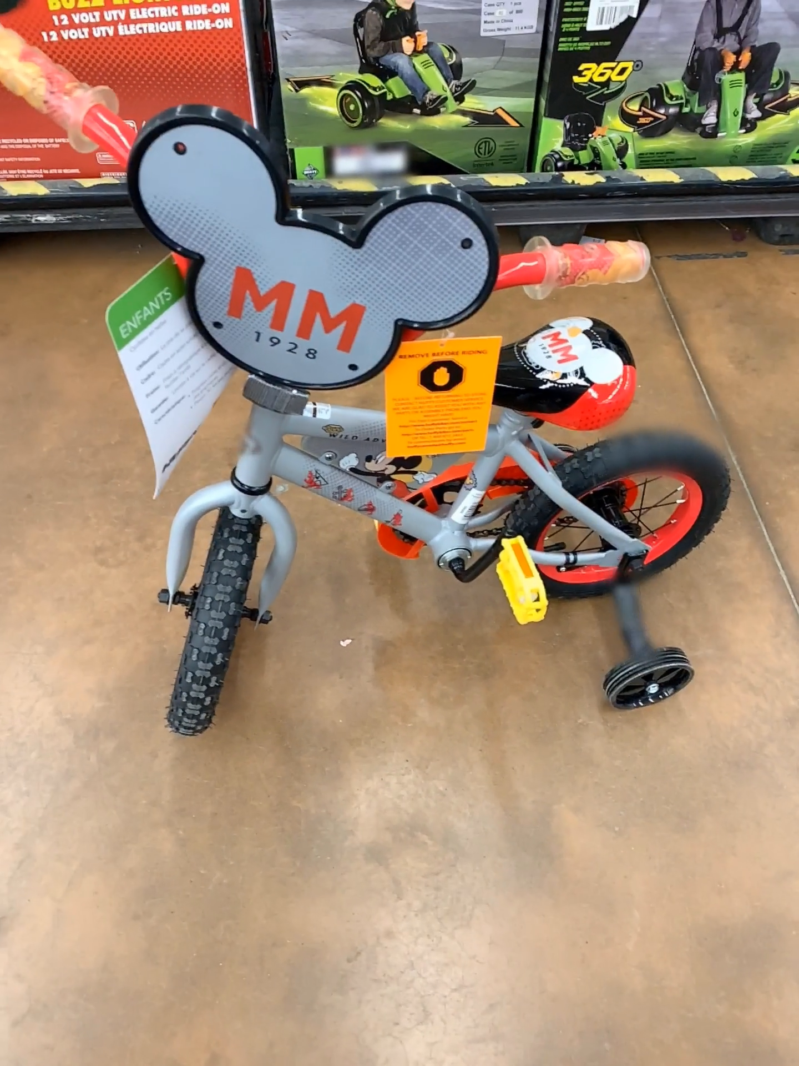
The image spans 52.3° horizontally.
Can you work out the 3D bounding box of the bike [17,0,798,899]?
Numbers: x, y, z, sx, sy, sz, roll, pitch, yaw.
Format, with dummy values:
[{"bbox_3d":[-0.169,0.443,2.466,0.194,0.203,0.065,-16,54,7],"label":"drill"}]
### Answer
[{"bbox_3d":[0.060,-0.087,0.827,0.641,0.689,0.453,-18,52,-9],"label":"bike"}]
